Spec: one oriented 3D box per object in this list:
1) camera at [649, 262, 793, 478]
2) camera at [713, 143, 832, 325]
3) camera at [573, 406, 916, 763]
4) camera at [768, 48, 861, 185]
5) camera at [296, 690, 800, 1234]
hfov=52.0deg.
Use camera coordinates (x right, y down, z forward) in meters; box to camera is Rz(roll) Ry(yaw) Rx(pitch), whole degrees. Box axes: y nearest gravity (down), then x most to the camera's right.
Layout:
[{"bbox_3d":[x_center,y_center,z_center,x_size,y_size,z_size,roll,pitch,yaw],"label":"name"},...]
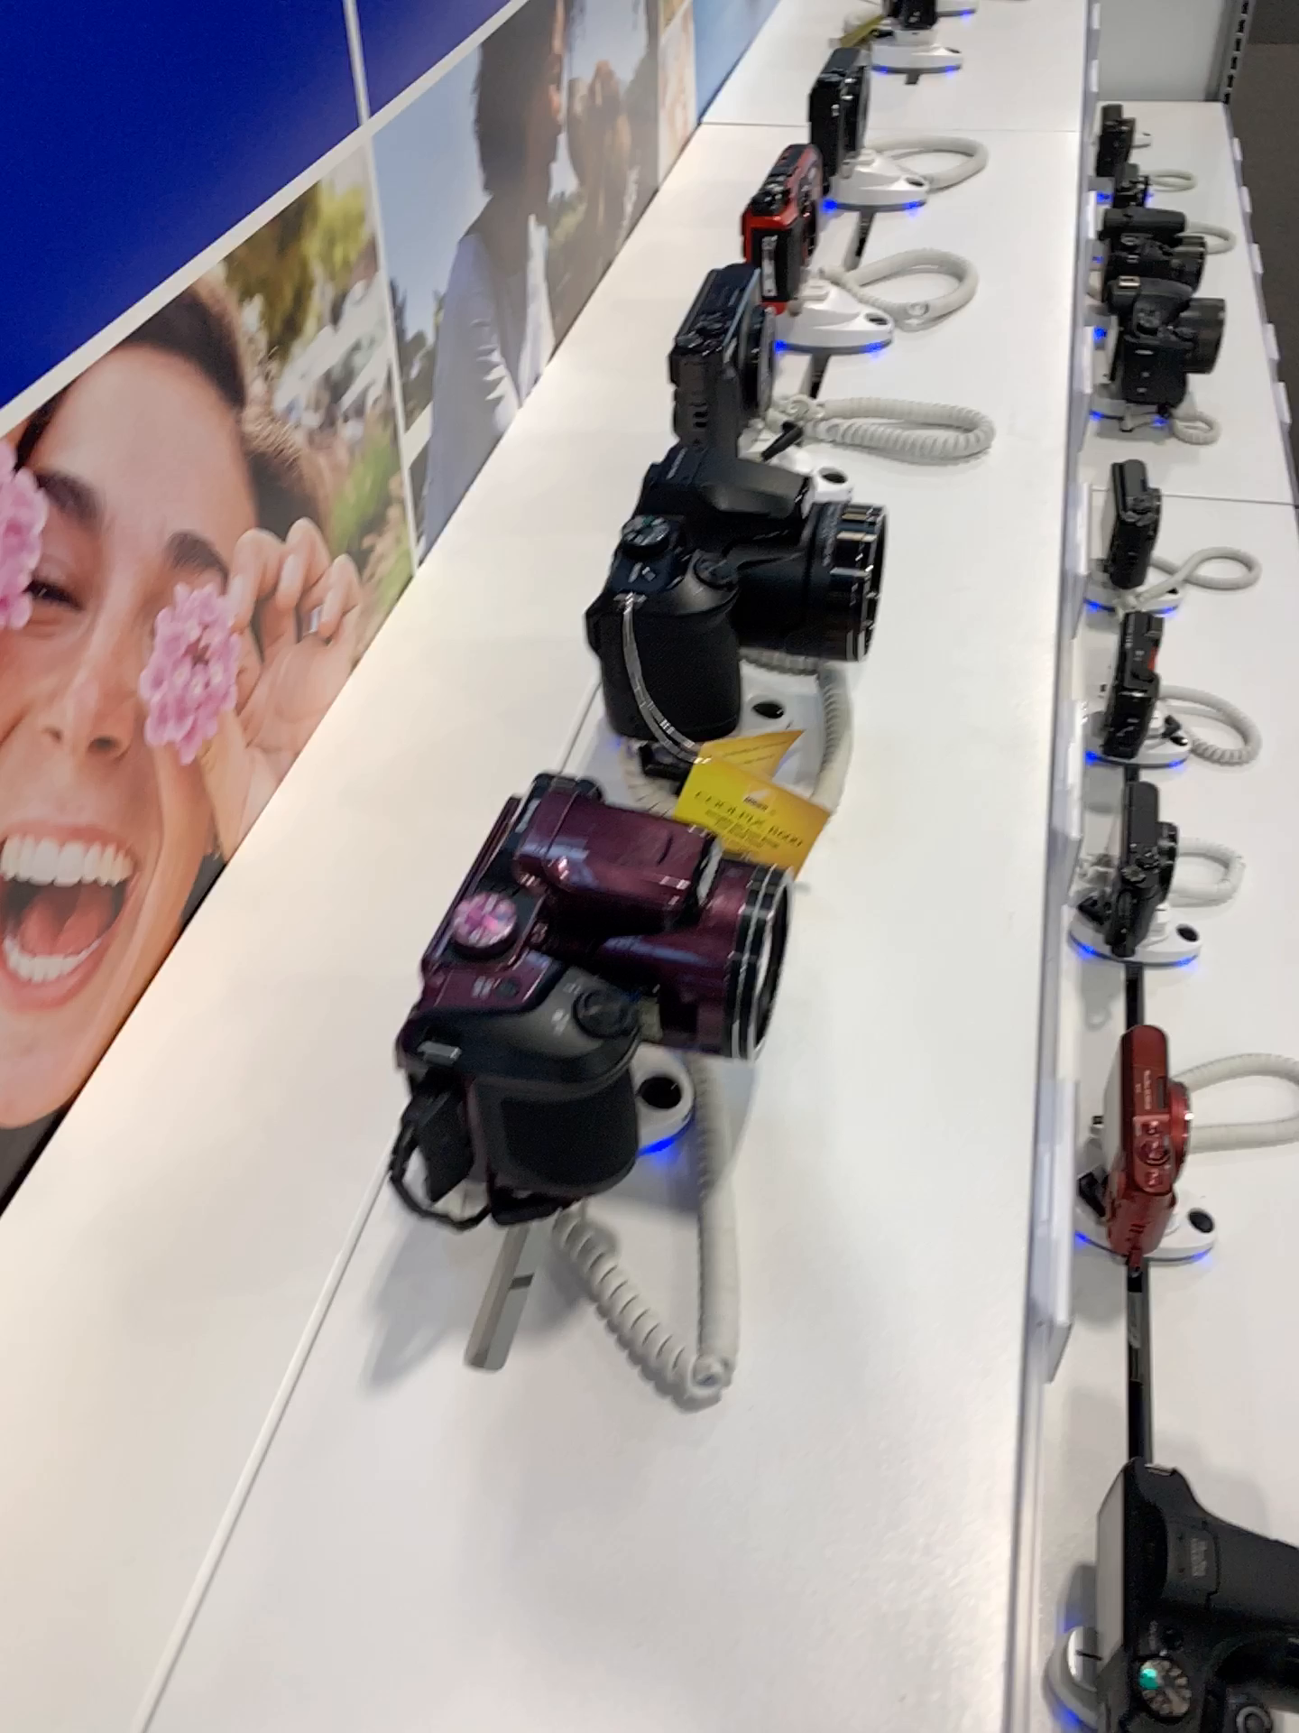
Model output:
[{"bbox_3d":[0.041,-0.265,0.707,0.050,0.060,0.121,8,47,13],"label":"camera"},{"bbox_3d":[0.079,-0.397,0.834,0.050,0.060,0.131,8,47,13],"label":"camera"},{"bbox_3d":[0.043,-0.117,0.539,0.110,0.080,0.121,8,47,13],"label":"camera"},{"bbox_3d":[0.124,-0.560,0.993,0.050,0.060,0.111,8,47,13],"label":"camera"},{"bbox_3d":[-0.020,0.024,0.407,0.110,0.080,0.131,8,47,13],"label":"camera"}]
